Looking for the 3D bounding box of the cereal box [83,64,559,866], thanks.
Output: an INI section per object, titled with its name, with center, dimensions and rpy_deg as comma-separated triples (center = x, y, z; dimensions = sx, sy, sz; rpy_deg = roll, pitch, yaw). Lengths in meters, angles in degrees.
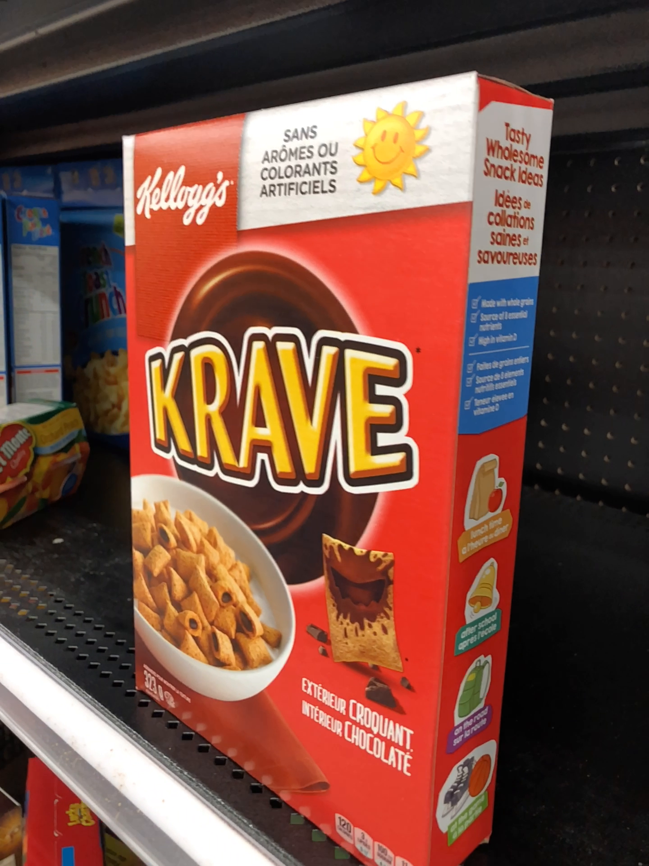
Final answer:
[cereal box]
center = -0.024, 0.015, 0.310
dimensions = 0.210, 0.279, 0.050
rpy_deg = 14, 17, 42
